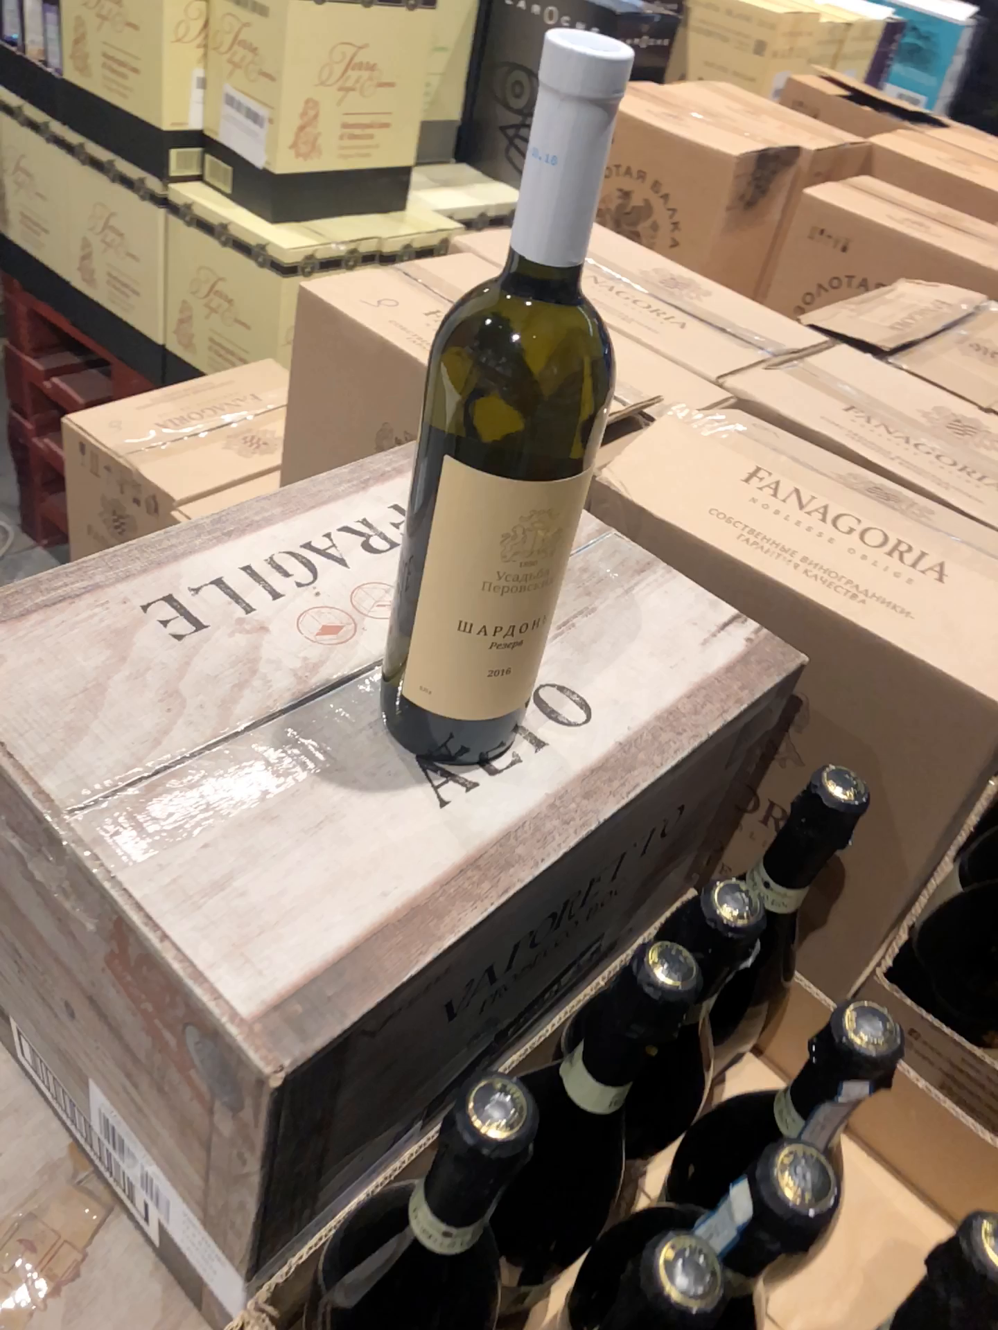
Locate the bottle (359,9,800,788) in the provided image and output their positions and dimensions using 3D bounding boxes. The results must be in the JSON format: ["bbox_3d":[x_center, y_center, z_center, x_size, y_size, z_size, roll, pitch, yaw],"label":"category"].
[{"bbox_3d":[0.013,-0.086,0.453,0.090,0.298,0.080,-6,43,-23],"label":"bottle"}]
